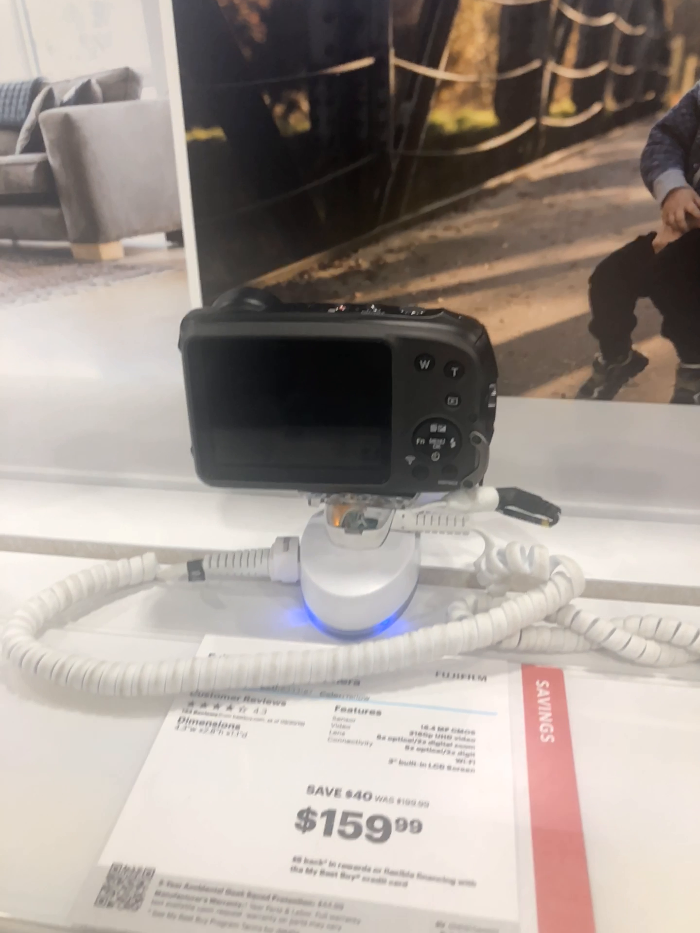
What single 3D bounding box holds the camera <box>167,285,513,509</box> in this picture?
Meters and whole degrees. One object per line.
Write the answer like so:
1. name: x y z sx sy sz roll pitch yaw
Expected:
1. camera: -0.003 -0.025 0.277 0.110 0.070 0.030 2 27 5
